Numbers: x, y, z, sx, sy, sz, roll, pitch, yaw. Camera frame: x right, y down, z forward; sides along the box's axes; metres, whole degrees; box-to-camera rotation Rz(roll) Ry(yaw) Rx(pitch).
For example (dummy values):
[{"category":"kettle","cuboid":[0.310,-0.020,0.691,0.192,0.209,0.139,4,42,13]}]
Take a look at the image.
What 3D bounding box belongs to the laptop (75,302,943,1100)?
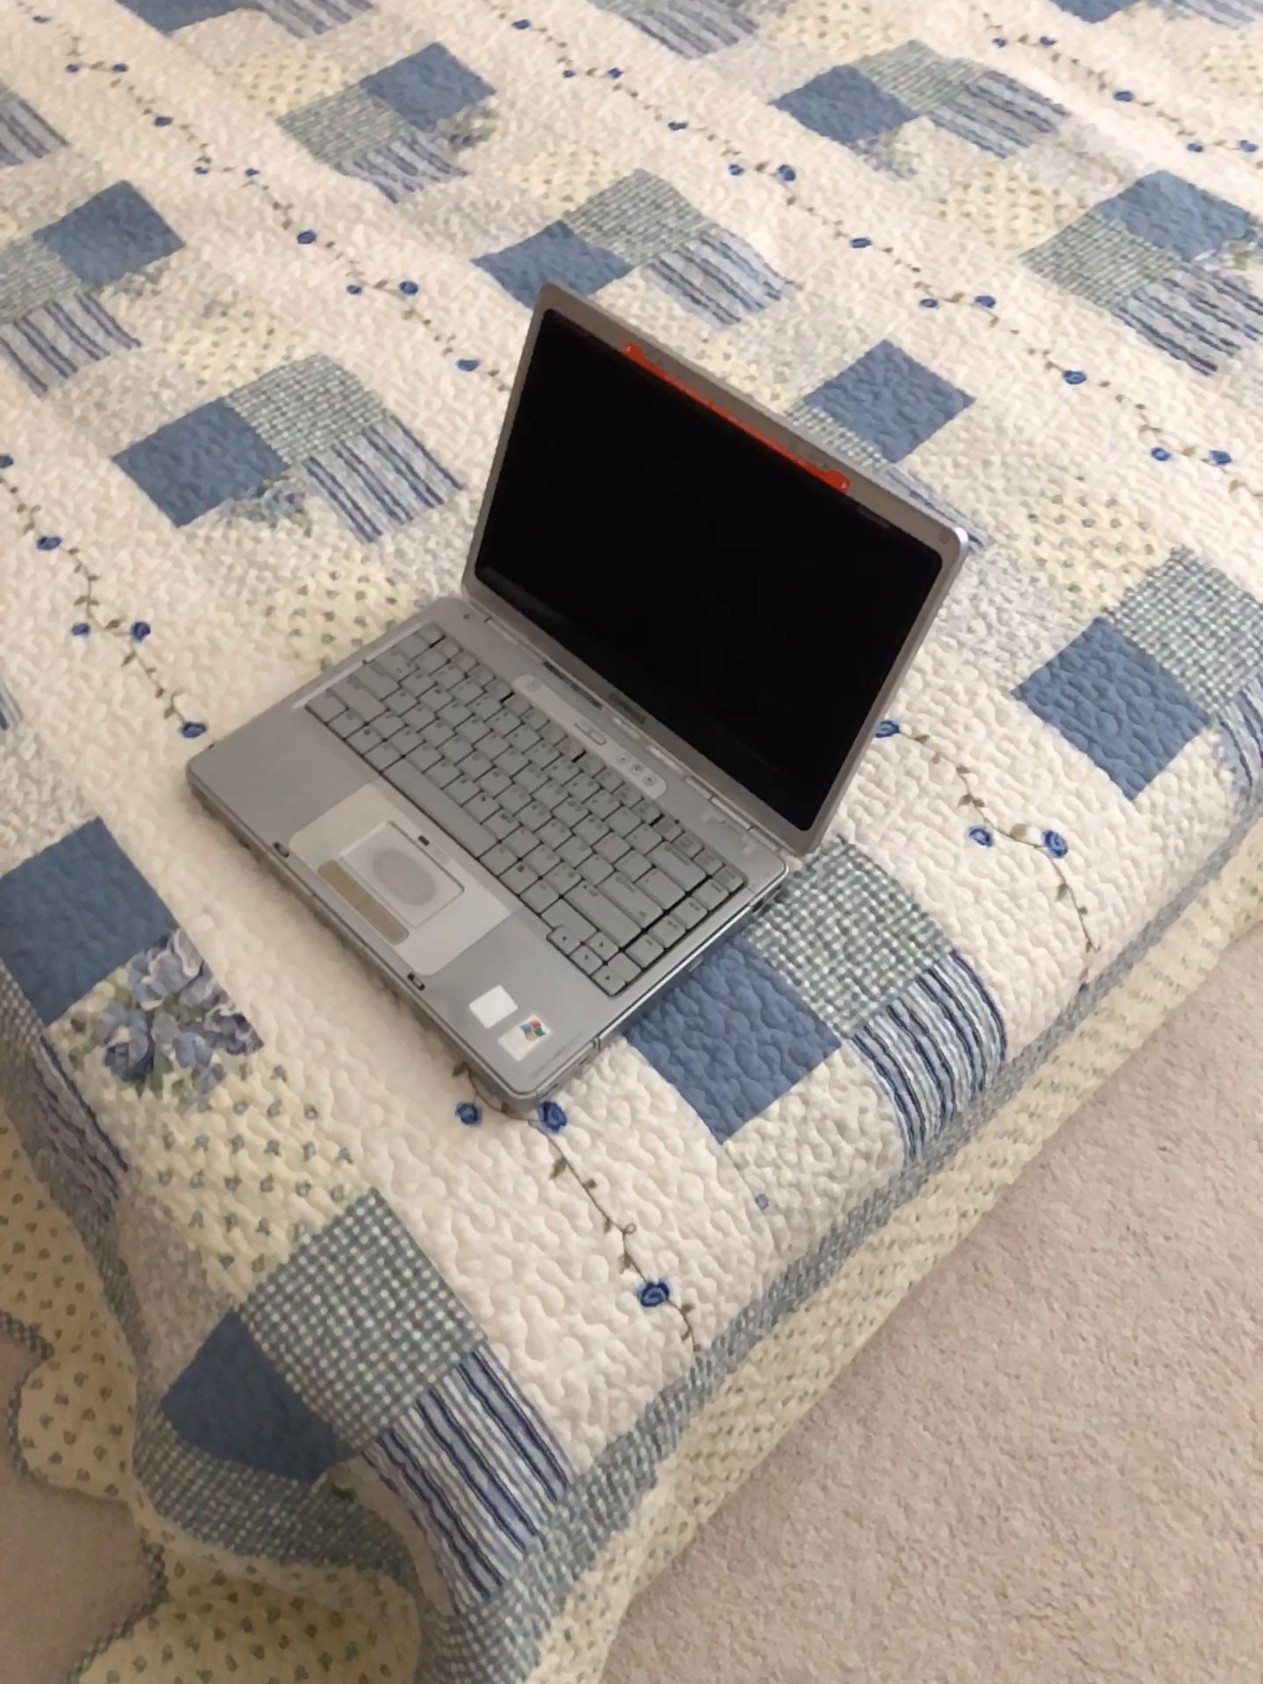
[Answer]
[{"category":"laptop","cuboid":[-0.062,-0.099,0.816,0.326,0.193,0.323,-39,63,-25]}]
